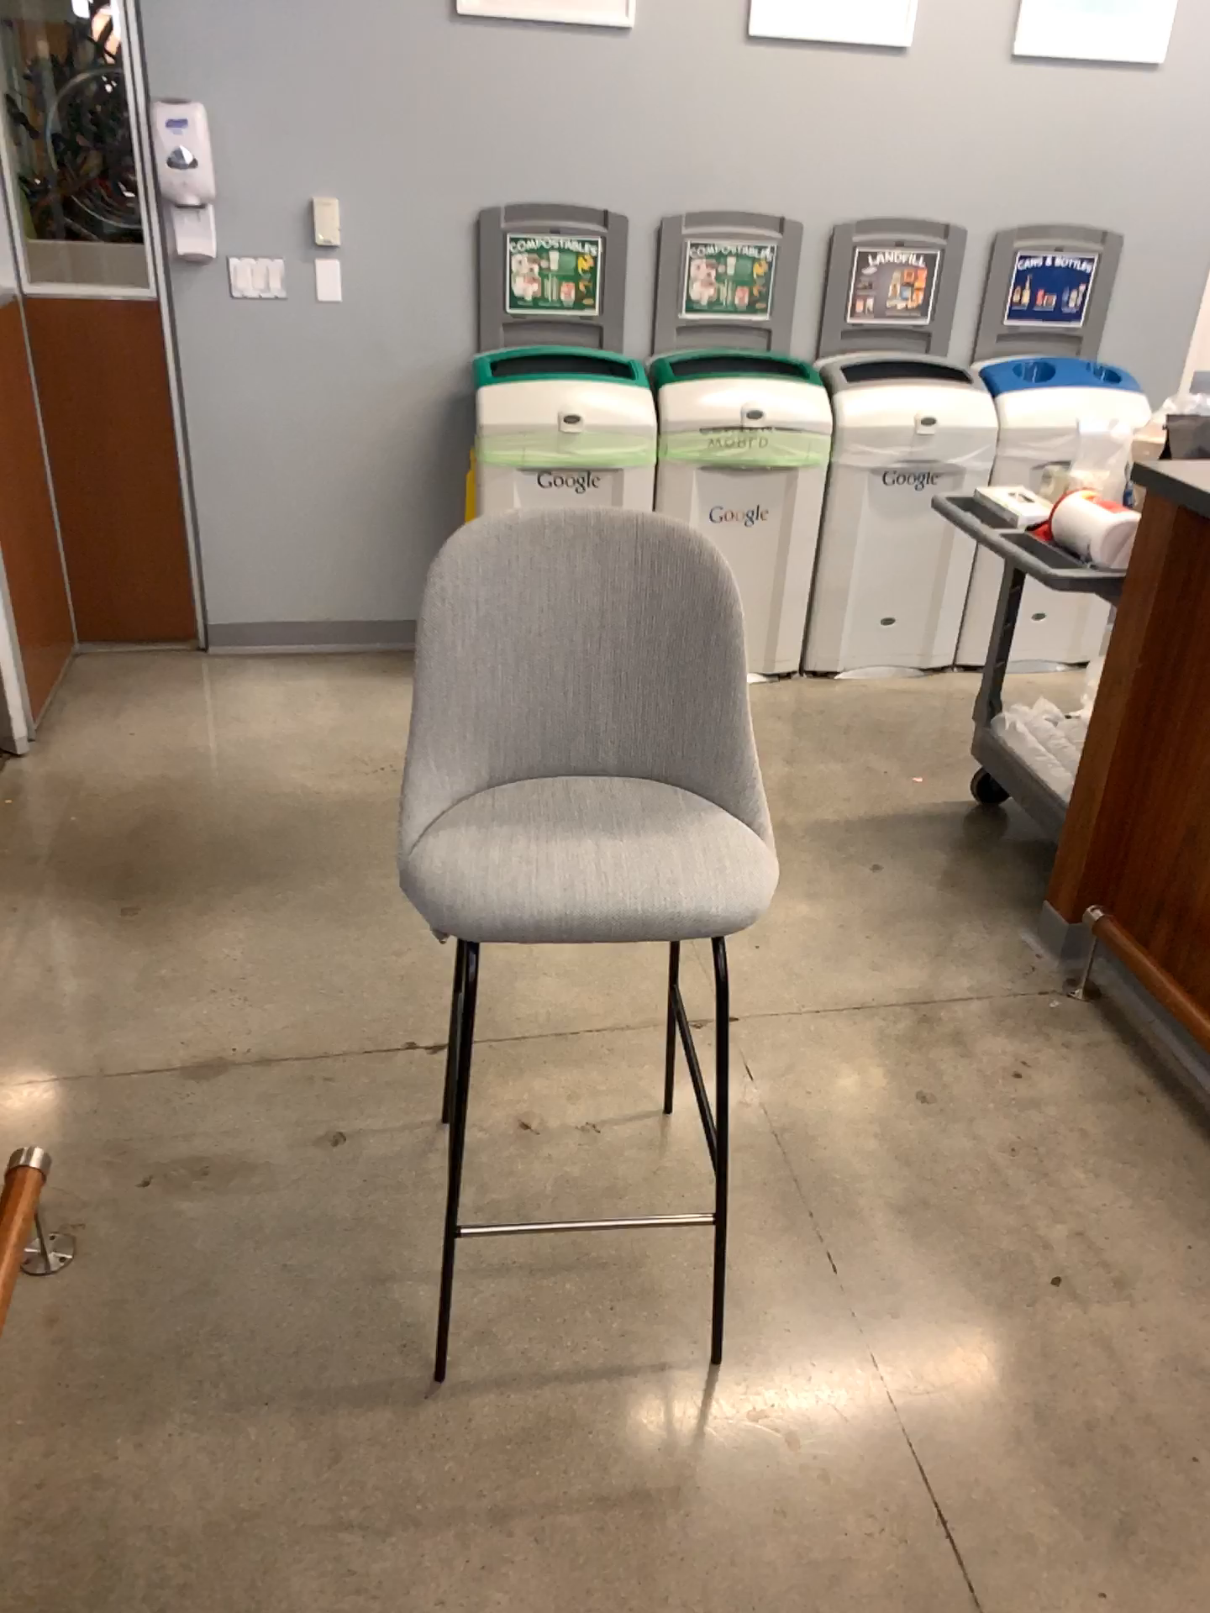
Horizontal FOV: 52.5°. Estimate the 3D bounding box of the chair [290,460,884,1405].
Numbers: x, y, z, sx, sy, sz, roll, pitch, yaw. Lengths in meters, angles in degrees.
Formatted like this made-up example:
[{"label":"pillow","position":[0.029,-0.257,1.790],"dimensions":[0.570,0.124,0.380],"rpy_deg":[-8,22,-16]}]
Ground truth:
[{"label":"chair","position":[-0.083,0.140,1.822],"dimensions":[0.590,1.094,0.815],"rpy_deg":[-1,28,-7]}]
